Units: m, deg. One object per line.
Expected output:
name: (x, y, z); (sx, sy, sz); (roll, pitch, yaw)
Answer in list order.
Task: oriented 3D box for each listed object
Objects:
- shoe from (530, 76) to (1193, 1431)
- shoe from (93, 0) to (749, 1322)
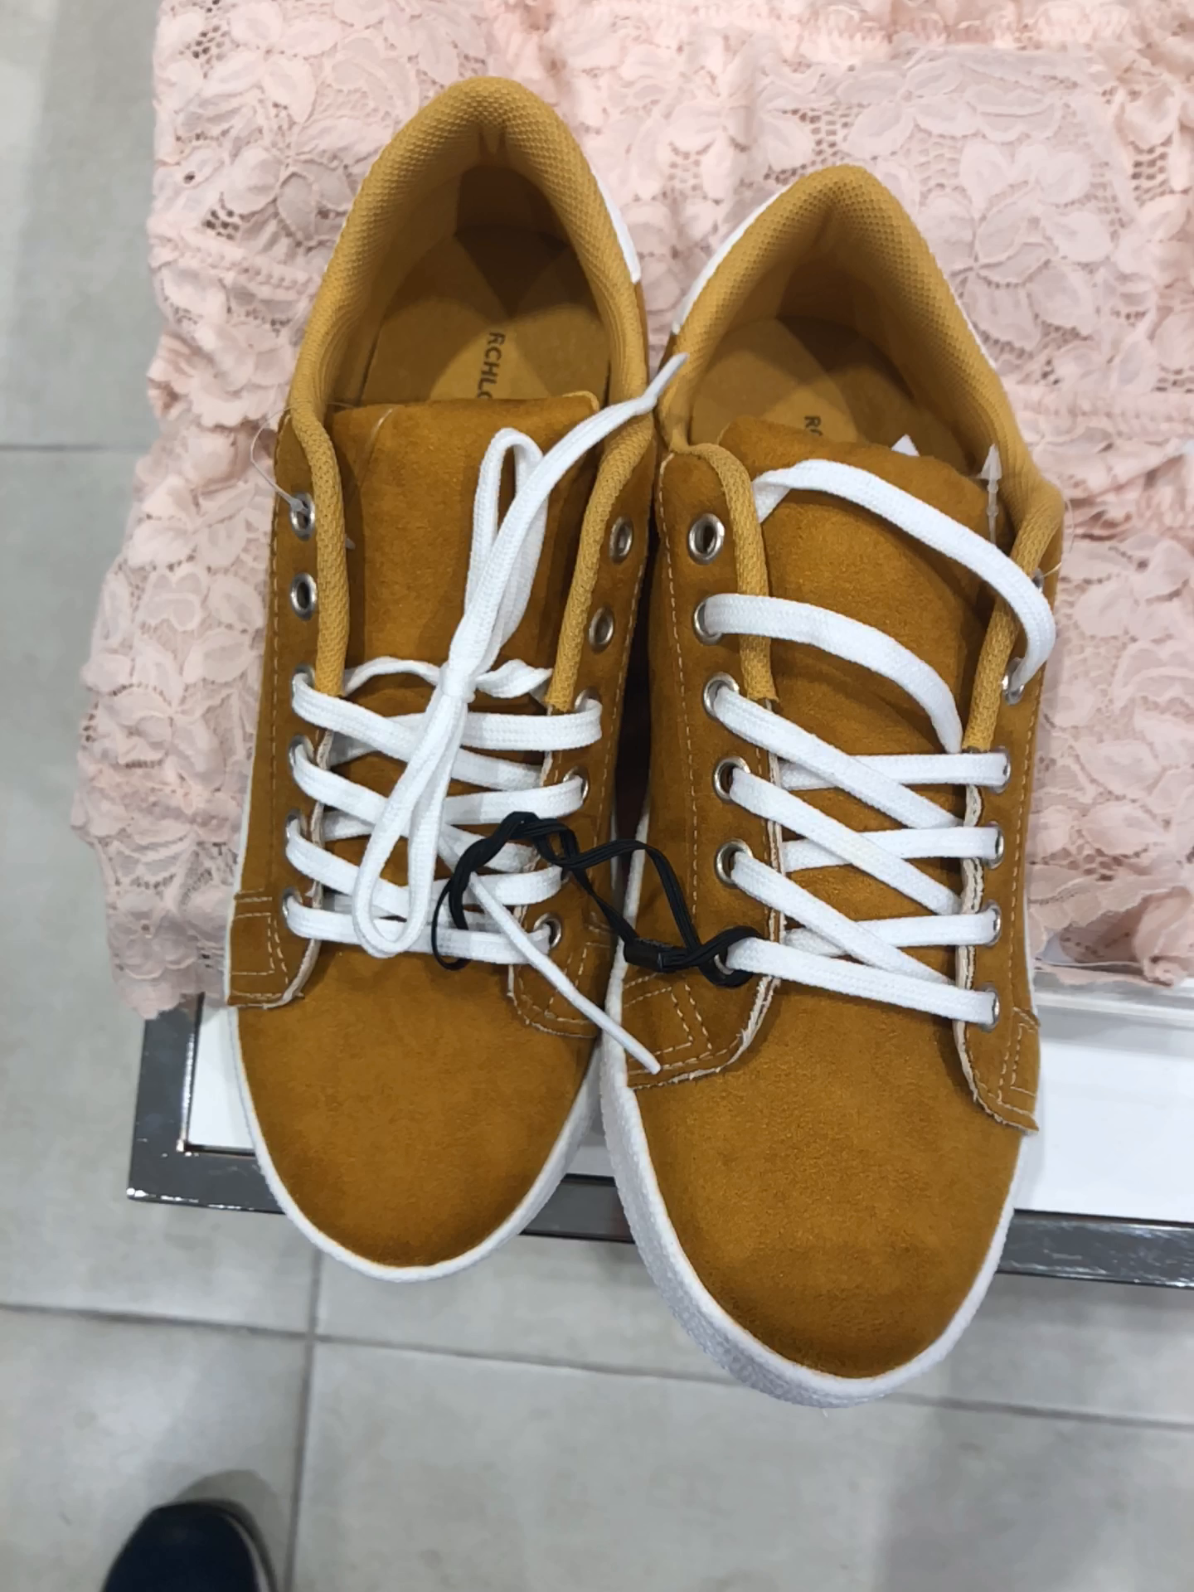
shoe: (0.046, -0.008, 0.276); (0.100, 0.100, 0.240); (4, 72, -7)
shoe: (-0.029, -0.027, 0.280); (0.090, 0.100, 0.240); (6, 76, -7)
